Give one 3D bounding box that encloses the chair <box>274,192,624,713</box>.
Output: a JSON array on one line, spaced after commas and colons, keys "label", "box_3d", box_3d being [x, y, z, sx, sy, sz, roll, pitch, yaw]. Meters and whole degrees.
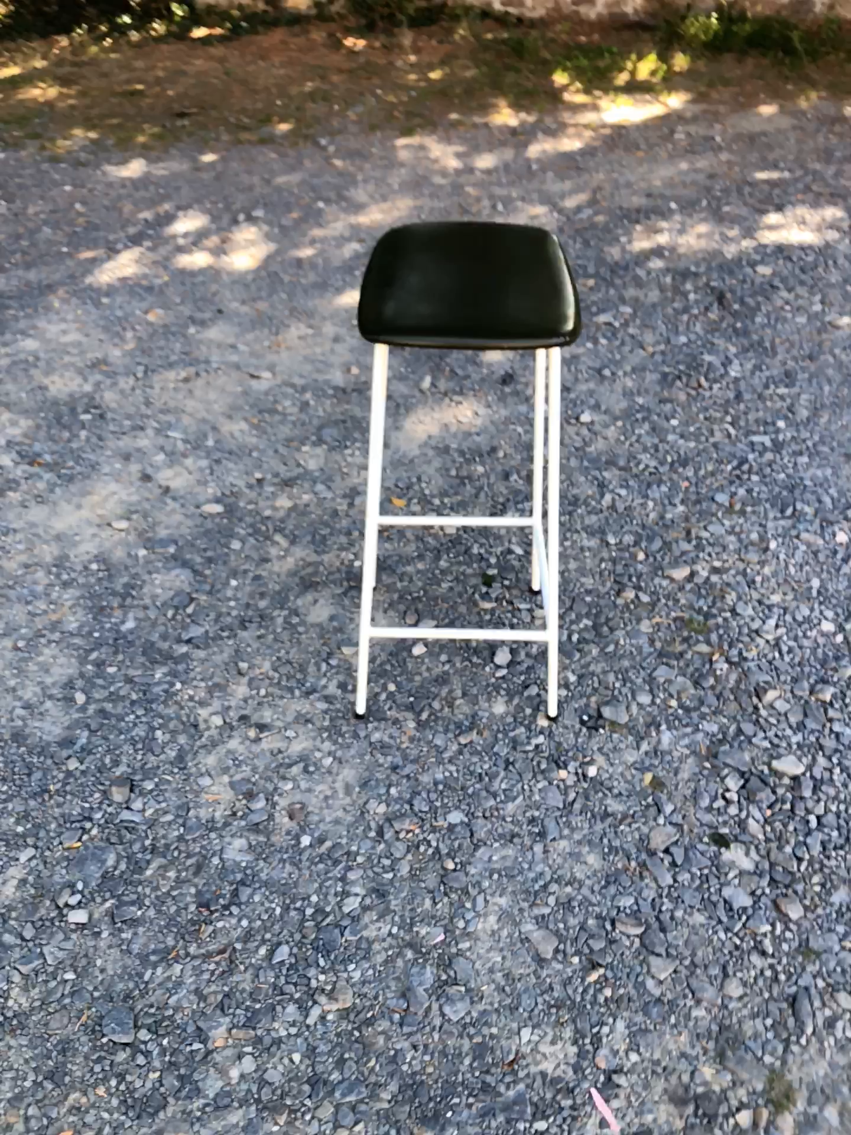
[{"label": "chair", "box_3d": [0.030, -0.143, 1.343, 0.370, 0.646, 0.372, 0, 42, 1]}]
